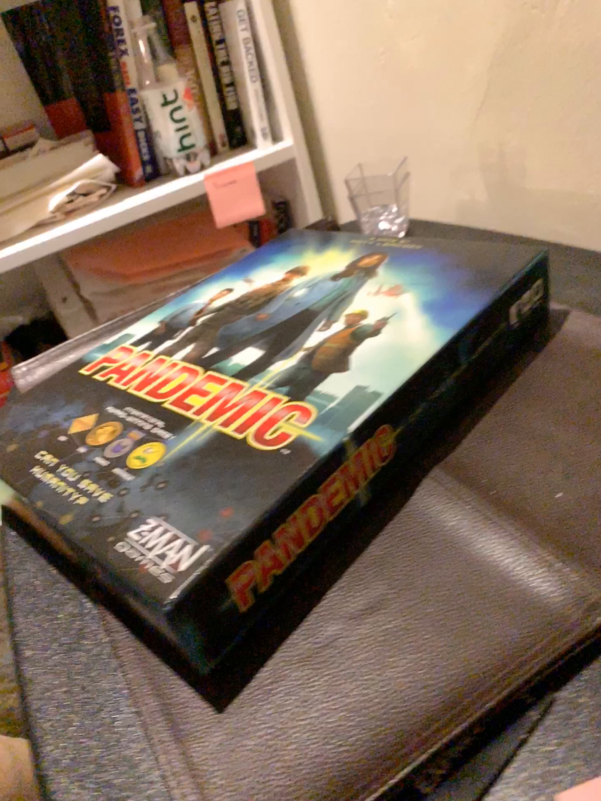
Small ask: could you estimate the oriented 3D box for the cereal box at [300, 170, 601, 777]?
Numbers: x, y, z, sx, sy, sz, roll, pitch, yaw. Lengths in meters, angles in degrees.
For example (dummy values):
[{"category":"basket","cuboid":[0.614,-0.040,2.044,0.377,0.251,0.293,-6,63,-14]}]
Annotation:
[{"category":"cereal box","cuboid":[0.401,0.184,1.193,0.471,0.993,0.512,-5,35,19]}]
